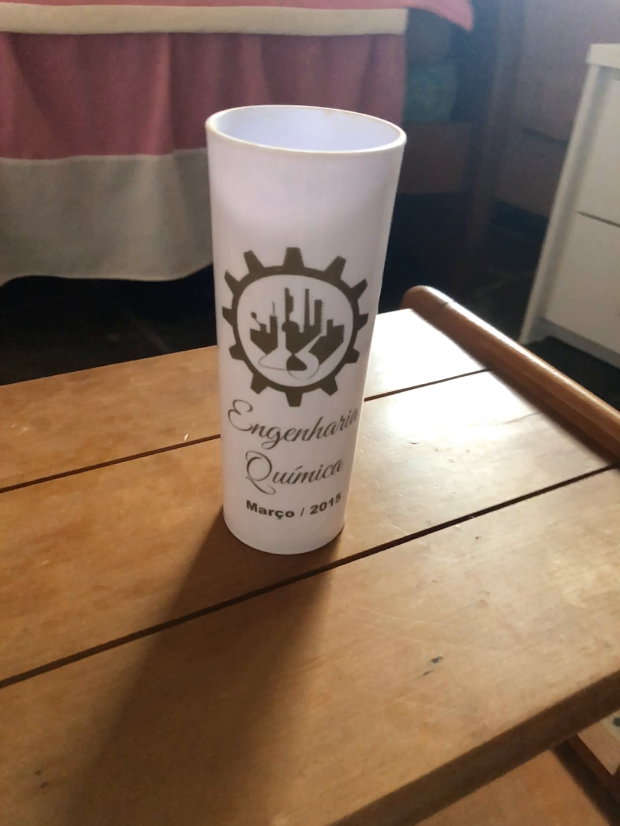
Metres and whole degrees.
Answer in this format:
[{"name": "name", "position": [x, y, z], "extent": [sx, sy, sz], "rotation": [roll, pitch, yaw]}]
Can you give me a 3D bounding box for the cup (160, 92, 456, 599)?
[{"name": "cup", "position": [-0.009, -0.021, 0.245], "extent": [0.070, 0.159, 0.070], "rotation": [3, 34, -2]}]
